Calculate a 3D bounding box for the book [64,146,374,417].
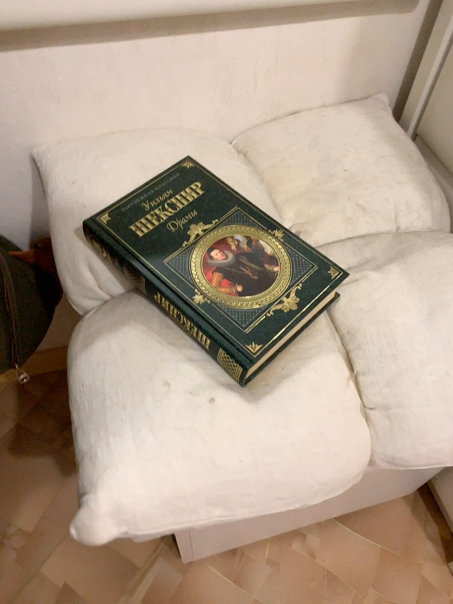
[{"bbox_3d":[-0.010,-0.034,0.408,0.221,0.040,0.151,41,63,21],"label":"book"}]
